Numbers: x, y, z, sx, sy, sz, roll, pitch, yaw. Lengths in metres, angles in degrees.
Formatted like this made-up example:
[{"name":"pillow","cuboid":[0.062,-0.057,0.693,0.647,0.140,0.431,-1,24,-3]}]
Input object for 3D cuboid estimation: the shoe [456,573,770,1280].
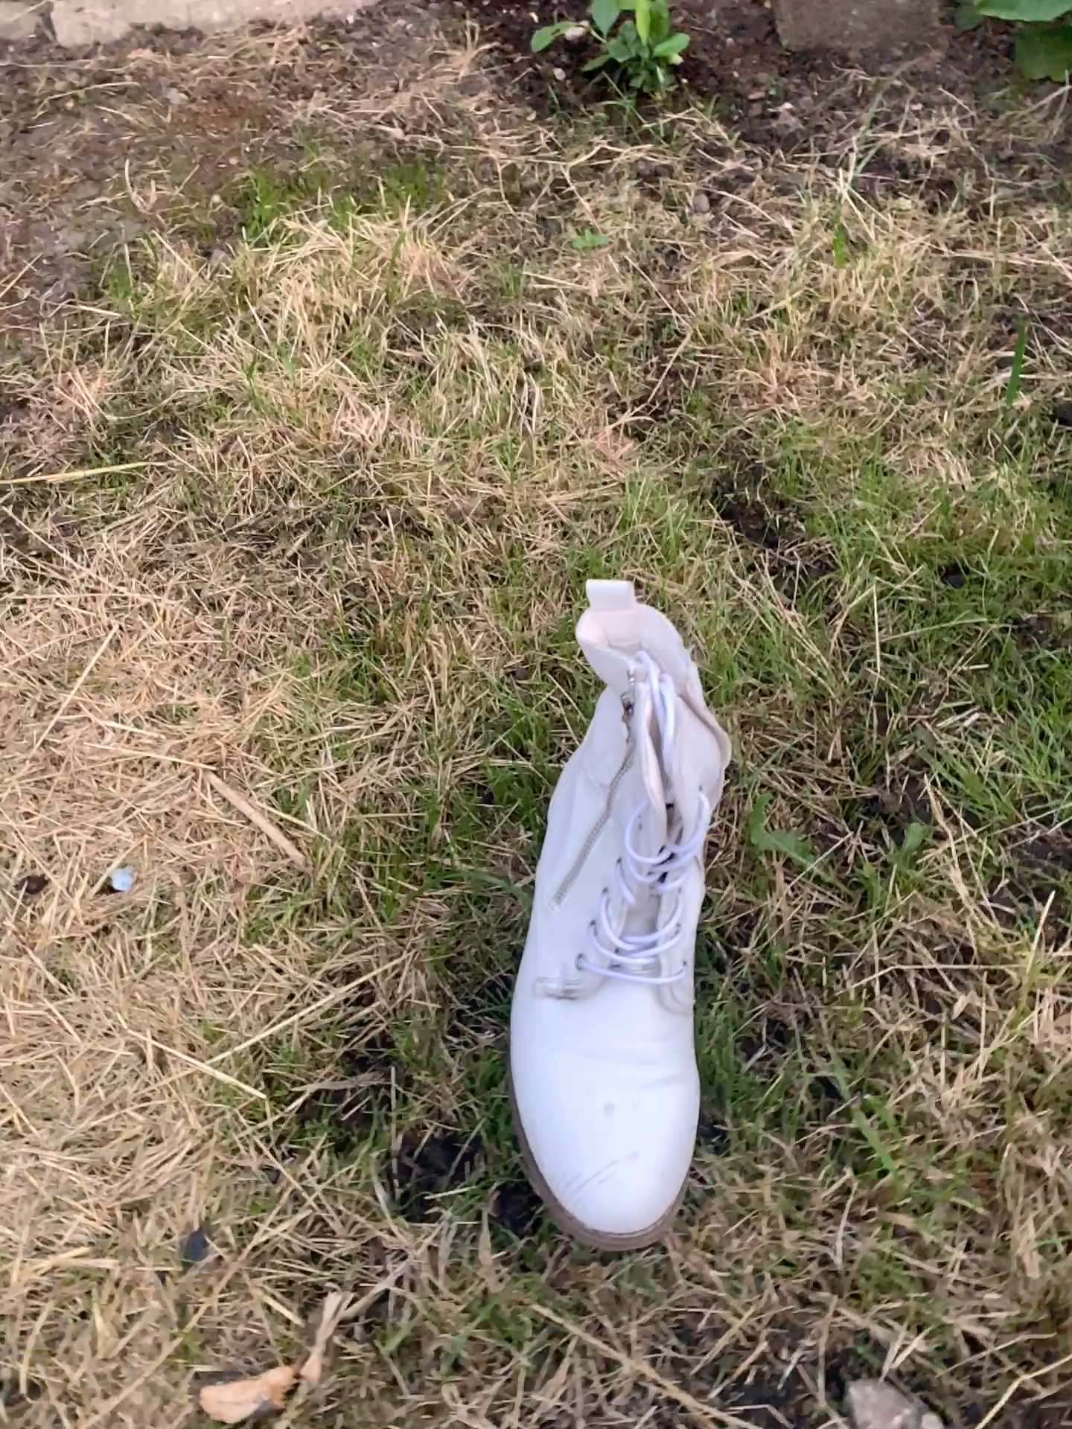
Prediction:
[{"name":"shoe","cuboid":[0.035,0.093,0.498,0.100,0.179,0.262,1,52,4]}]
